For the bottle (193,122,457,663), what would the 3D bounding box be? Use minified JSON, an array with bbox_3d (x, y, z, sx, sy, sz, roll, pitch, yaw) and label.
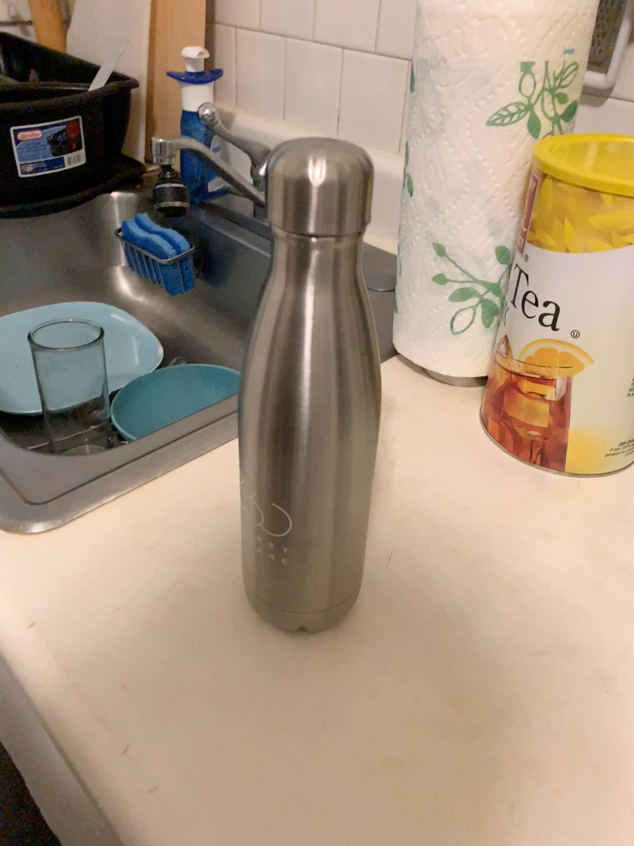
[{"bbox_3d":[-0.004,-0.001,0.315,0.070,0.249,0.070,2,36,-2],"label":"bottle"}]
